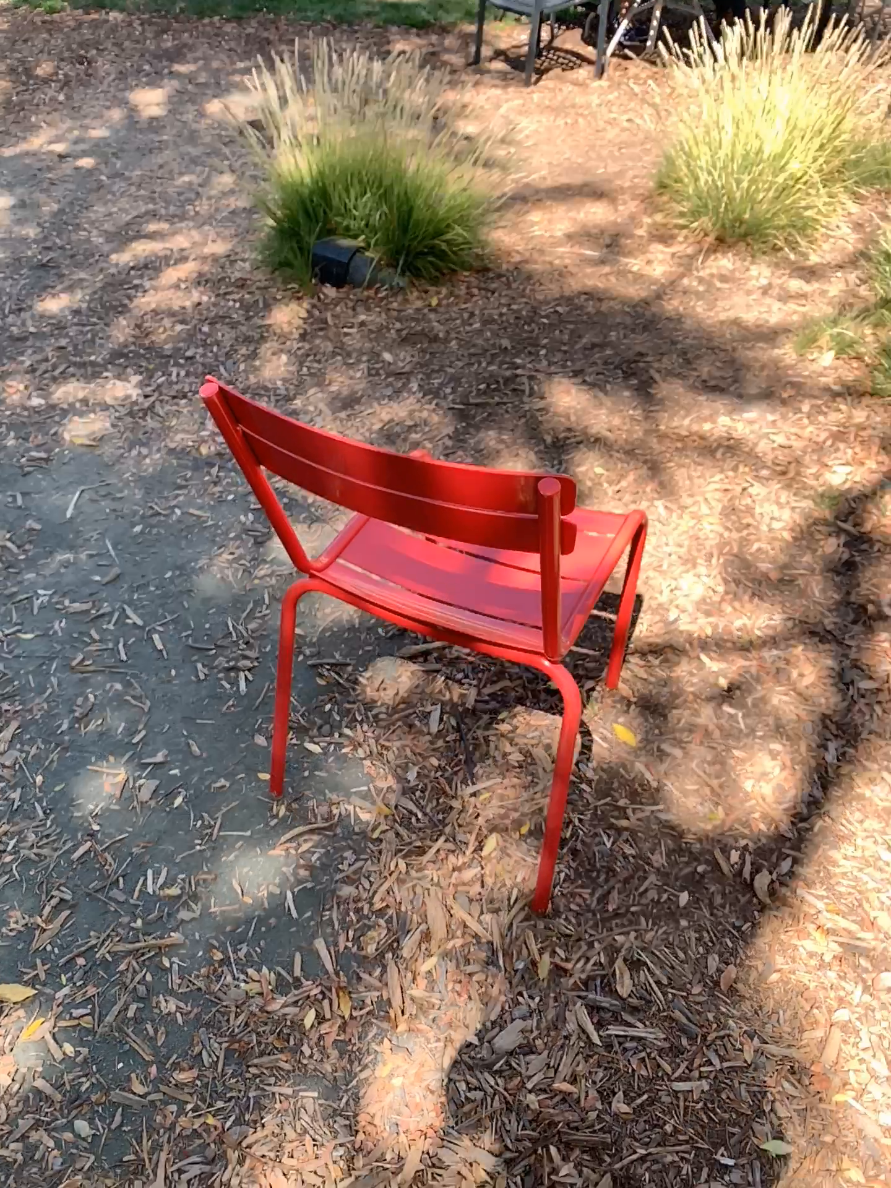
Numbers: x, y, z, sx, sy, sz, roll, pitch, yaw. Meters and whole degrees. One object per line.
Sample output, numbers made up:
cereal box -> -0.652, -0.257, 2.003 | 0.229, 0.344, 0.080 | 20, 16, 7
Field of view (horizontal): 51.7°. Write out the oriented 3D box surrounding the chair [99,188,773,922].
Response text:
chair -> 0.026, -0.048, 1.384 | 0.612, 0.786, 0.571 | 19, 52, 18
